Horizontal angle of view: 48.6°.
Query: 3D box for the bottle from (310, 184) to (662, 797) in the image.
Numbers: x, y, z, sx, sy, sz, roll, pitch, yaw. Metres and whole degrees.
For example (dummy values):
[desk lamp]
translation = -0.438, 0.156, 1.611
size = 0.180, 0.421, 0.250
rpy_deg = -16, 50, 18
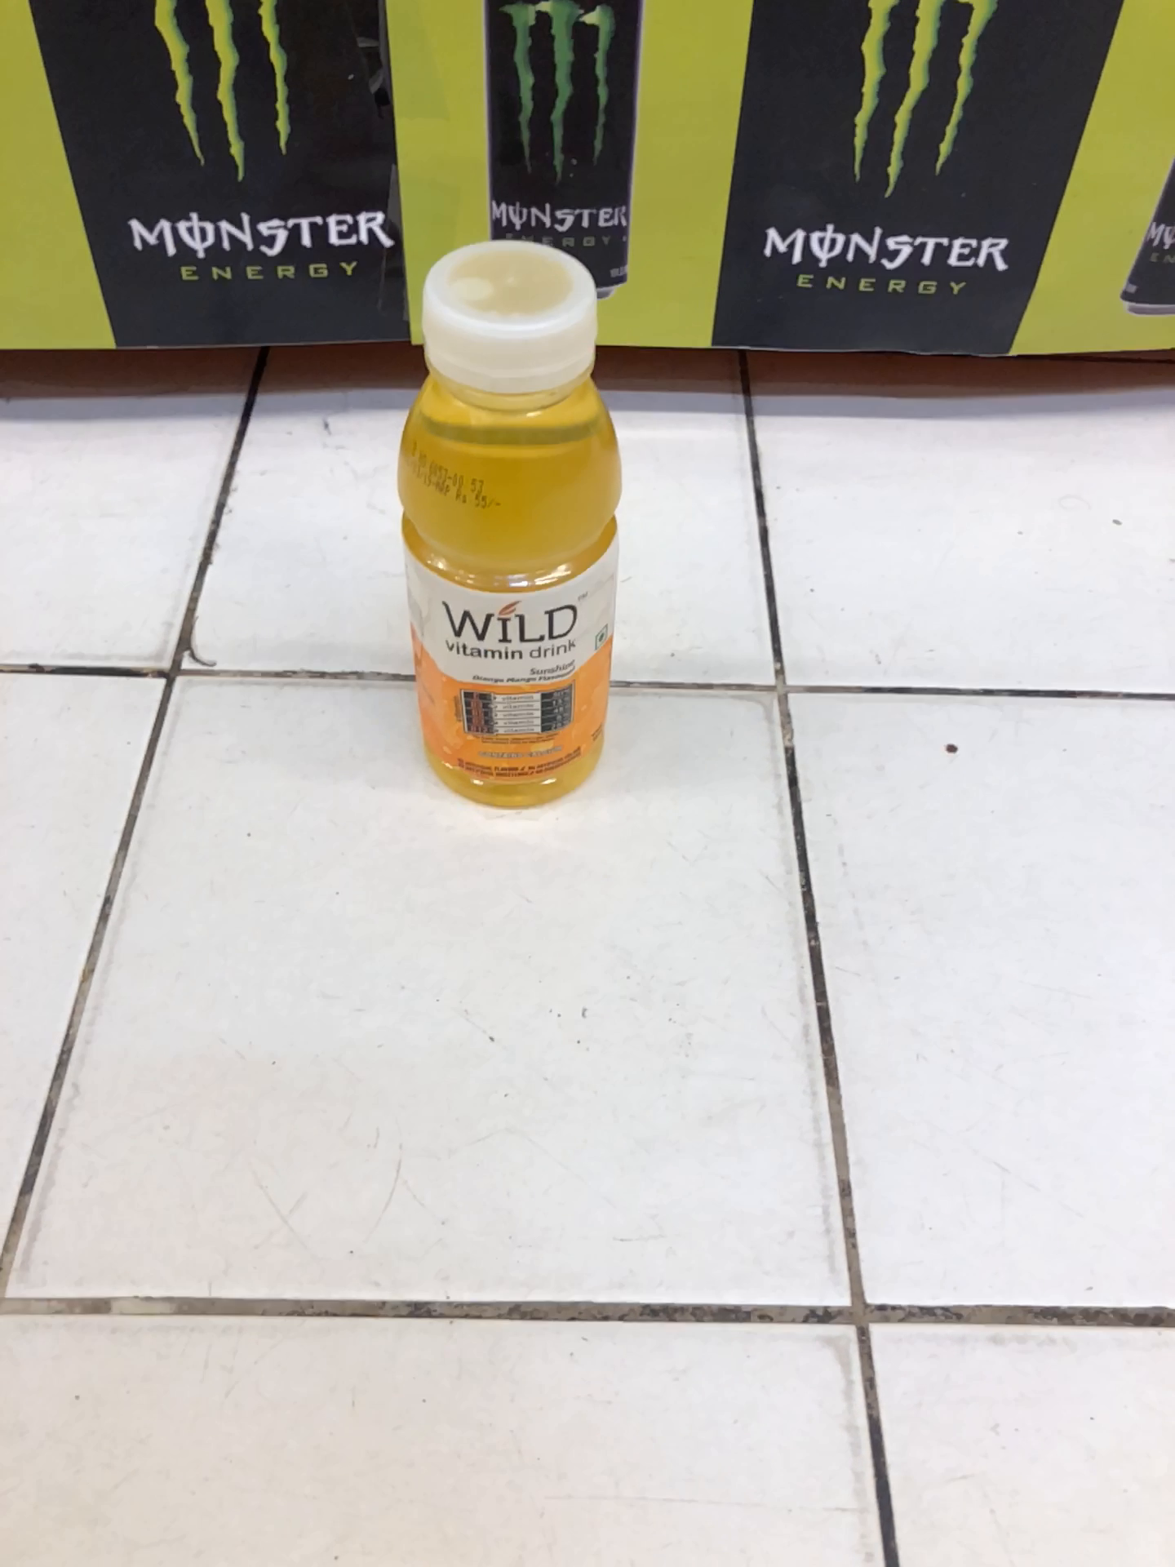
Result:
[bottle]
translation = -0.026, -0.068, 0.336
size = 0.070, 0.139, 0.070
rpy_deg = 2, 51, -3
